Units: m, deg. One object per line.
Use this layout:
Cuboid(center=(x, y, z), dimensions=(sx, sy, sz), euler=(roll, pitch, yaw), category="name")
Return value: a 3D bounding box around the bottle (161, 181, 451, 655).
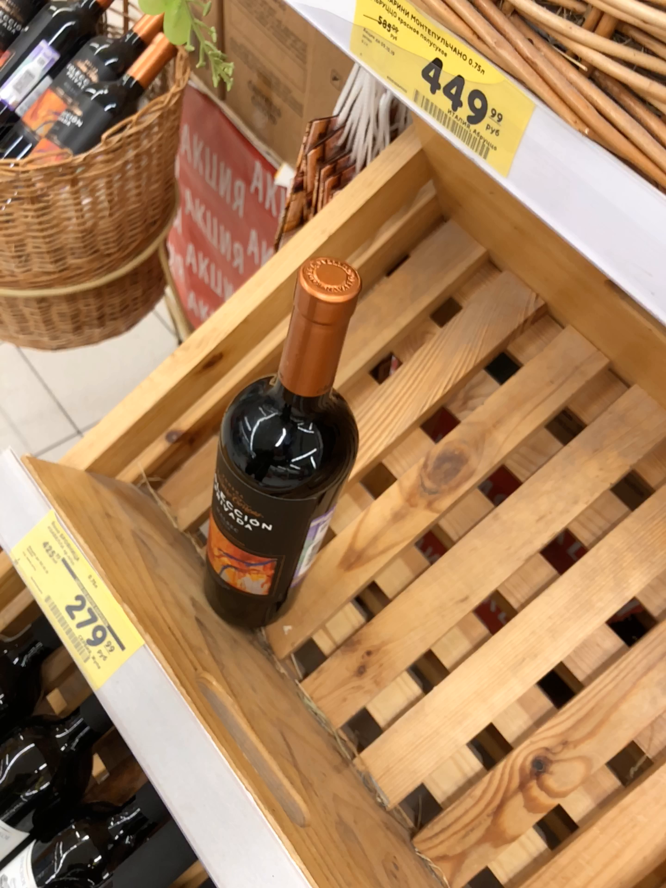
Cuboid(center=(-0.036, 0.008, 0.425), dimensions=(0.080, 0.289, 0.086), euler=(8, 51, -9), category="bottle")
